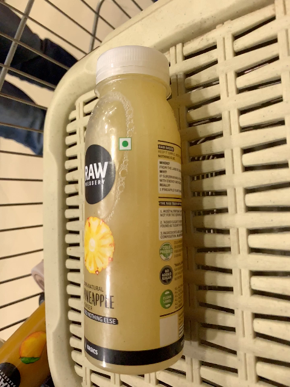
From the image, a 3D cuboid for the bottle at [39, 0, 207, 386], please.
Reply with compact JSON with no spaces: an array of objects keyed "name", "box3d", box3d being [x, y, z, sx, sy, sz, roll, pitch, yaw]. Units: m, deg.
[{"name":"bottle","box3d":[-0.009,-0.002,0.150,0.060,0.050,0.160,-4,82,40]}]
